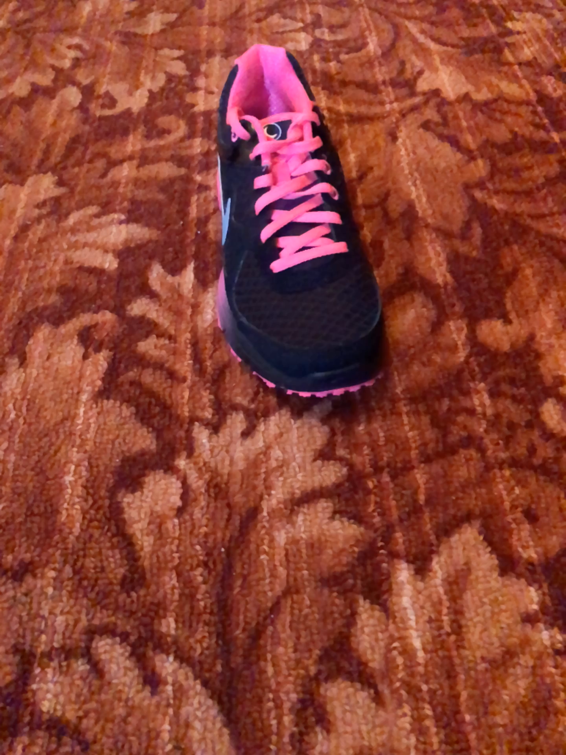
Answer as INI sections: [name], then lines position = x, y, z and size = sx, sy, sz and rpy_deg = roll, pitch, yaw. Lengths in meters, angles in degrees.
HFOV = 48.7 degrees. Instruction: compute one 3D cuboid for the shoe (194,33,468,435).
[shoe]
position = 0.012, -0.103, 0.391
size = 0.110, 0.100, 0.251
rpy_deg = -7, 52, -4
